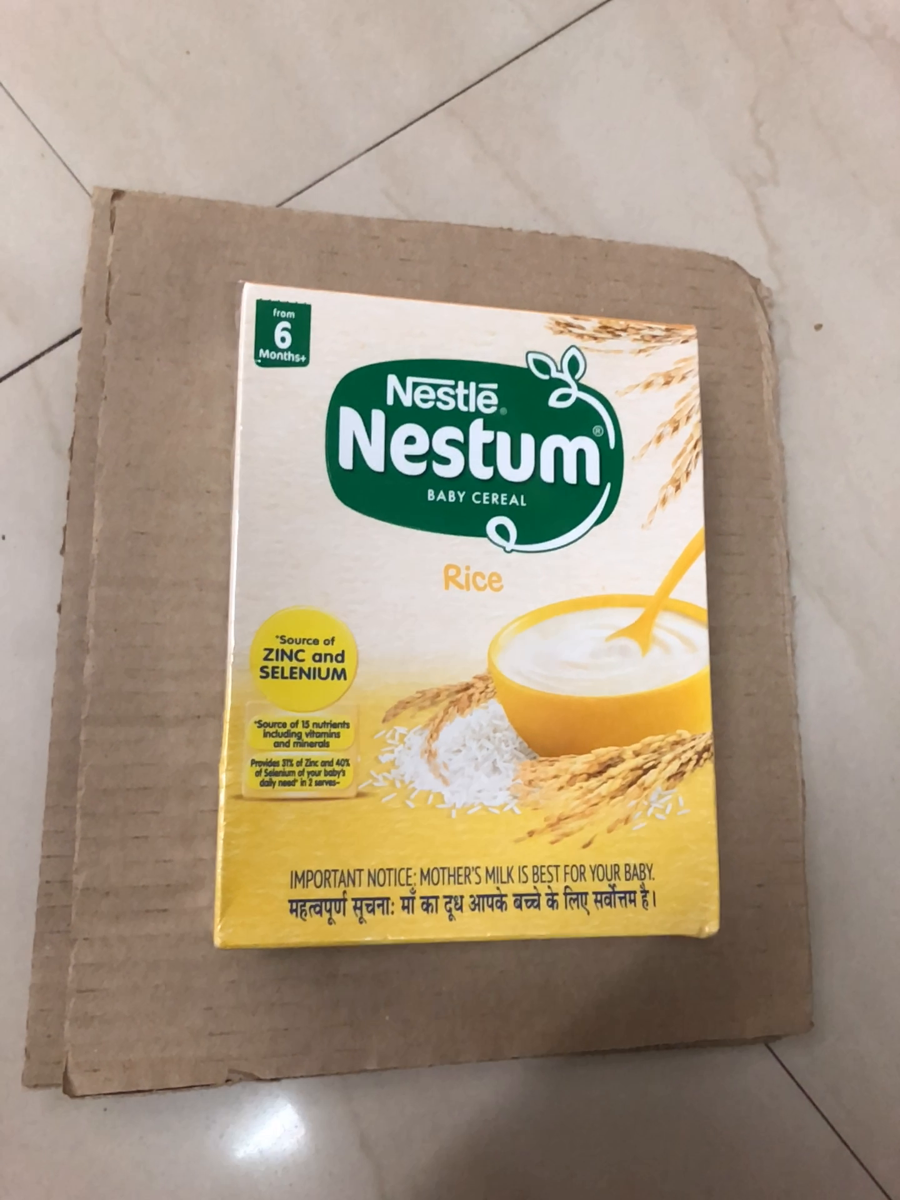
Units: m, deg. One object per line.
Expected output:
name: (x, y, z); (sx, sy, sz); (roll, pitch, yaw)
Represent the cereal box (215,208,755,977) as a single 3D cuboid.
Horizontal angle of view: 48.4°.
cereal box: (0.008, -0.001, 0.315); (0.150, 0.060, 0.210); (2, 81, -13)
